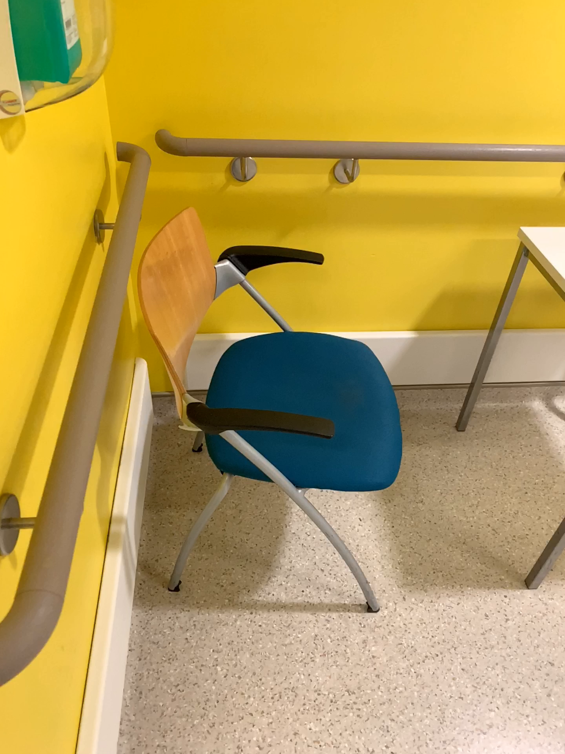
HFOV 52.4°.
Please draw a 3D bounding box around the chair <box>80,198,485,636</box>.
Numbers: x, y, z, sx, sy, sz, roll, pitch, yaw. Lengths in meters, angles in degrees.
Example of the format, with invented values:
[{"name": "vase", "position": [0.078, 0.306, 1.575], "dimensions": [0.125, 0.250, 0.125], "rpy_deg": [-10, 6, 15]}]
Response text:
[{"name": "chair", "position": [-0.007, 0.104, 1.304], "dimensions": [0.589, 0.779, 0.576], "rpy_deg": [3, 40, 0]}]
